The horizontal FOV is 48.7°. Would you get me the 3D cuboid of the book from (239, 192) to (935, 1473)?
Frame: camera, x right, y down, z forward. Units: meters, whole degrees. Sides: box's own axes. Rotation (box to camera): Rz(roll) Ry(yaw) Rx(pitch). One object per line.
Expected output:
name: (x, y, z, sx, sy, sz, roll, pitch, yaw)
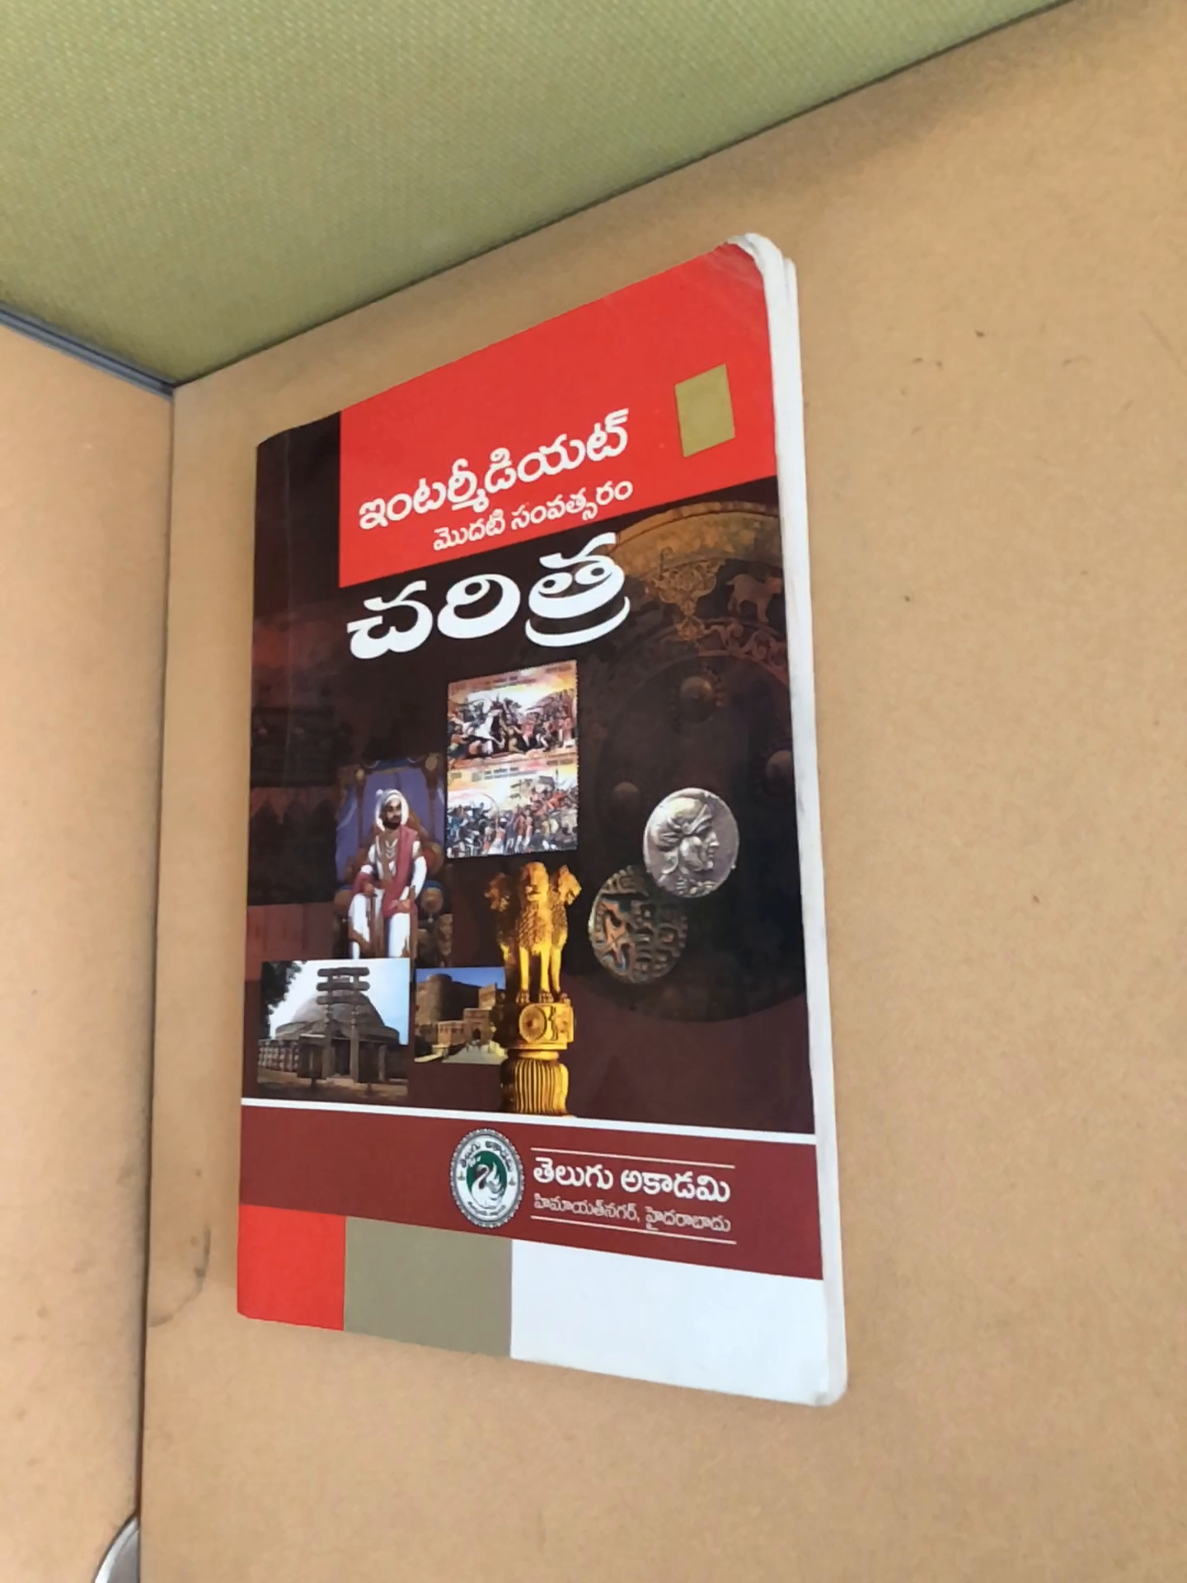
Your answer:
book: (-0.017, 0.011, 0.364, 0.201, 0.030, 0.290, -8, 78, 35)
